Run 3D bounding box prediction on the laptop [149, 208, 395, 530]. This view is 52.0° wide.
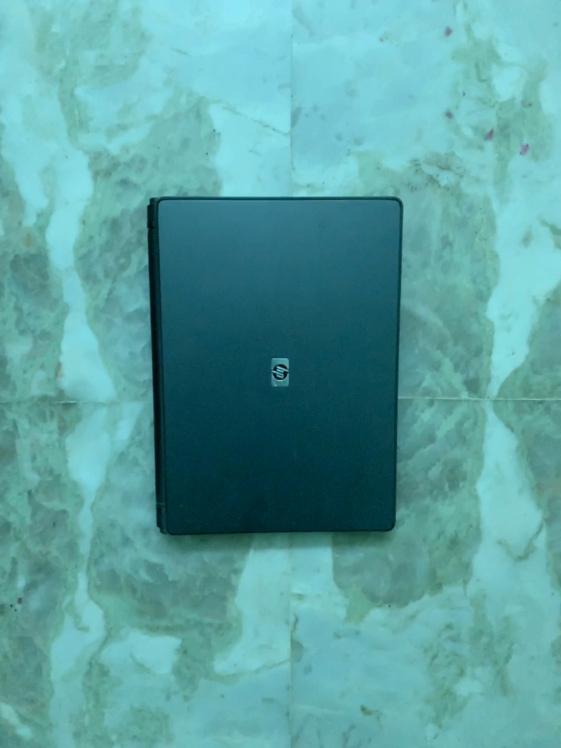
[{"bbox_3d":[-0.006,0.001,0.551,0.226,0.001,0.310,0,98,1],"label":"laptop"}]
